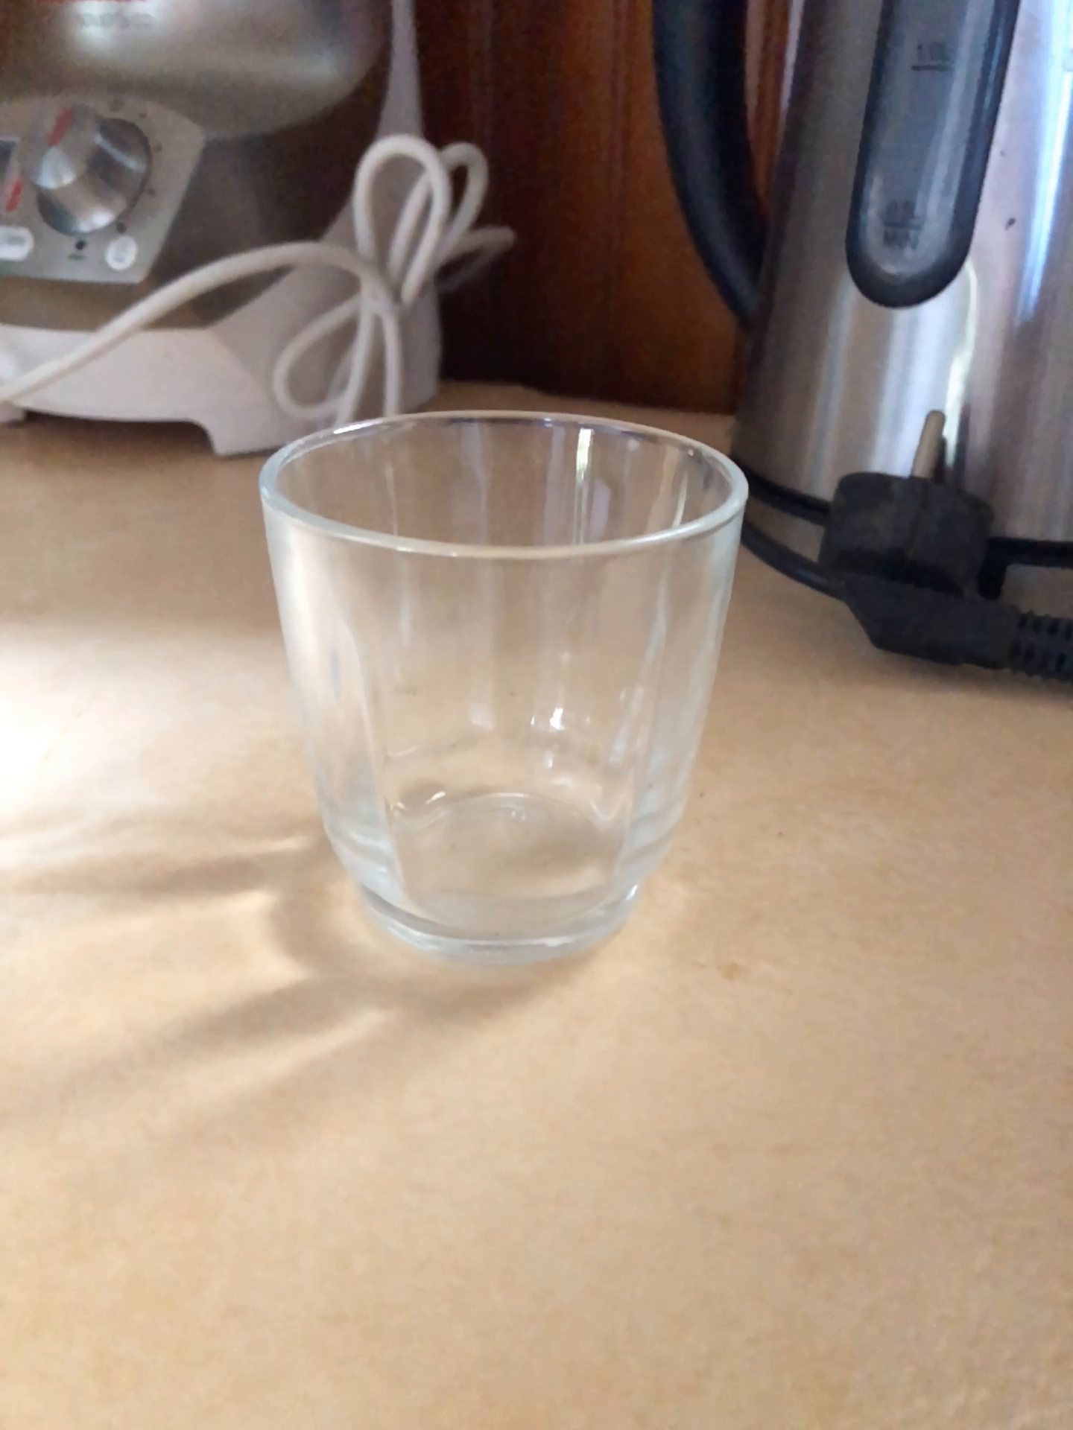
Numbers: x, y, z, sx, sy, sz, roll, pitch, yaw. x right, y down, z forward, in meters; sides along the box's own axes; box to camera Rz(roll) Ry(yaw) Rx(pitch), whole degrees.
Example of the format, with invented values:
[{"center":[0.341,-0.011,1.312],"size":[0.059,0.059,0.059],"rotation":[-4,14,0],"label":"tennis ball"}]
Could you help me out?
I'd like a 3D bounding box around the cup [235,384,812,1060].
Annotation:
[{"center":[-0.008,-0.005,0.196],"size":[0.070,0.080,0.070],"rotation":[1,27,0],"label":"cup"}]
